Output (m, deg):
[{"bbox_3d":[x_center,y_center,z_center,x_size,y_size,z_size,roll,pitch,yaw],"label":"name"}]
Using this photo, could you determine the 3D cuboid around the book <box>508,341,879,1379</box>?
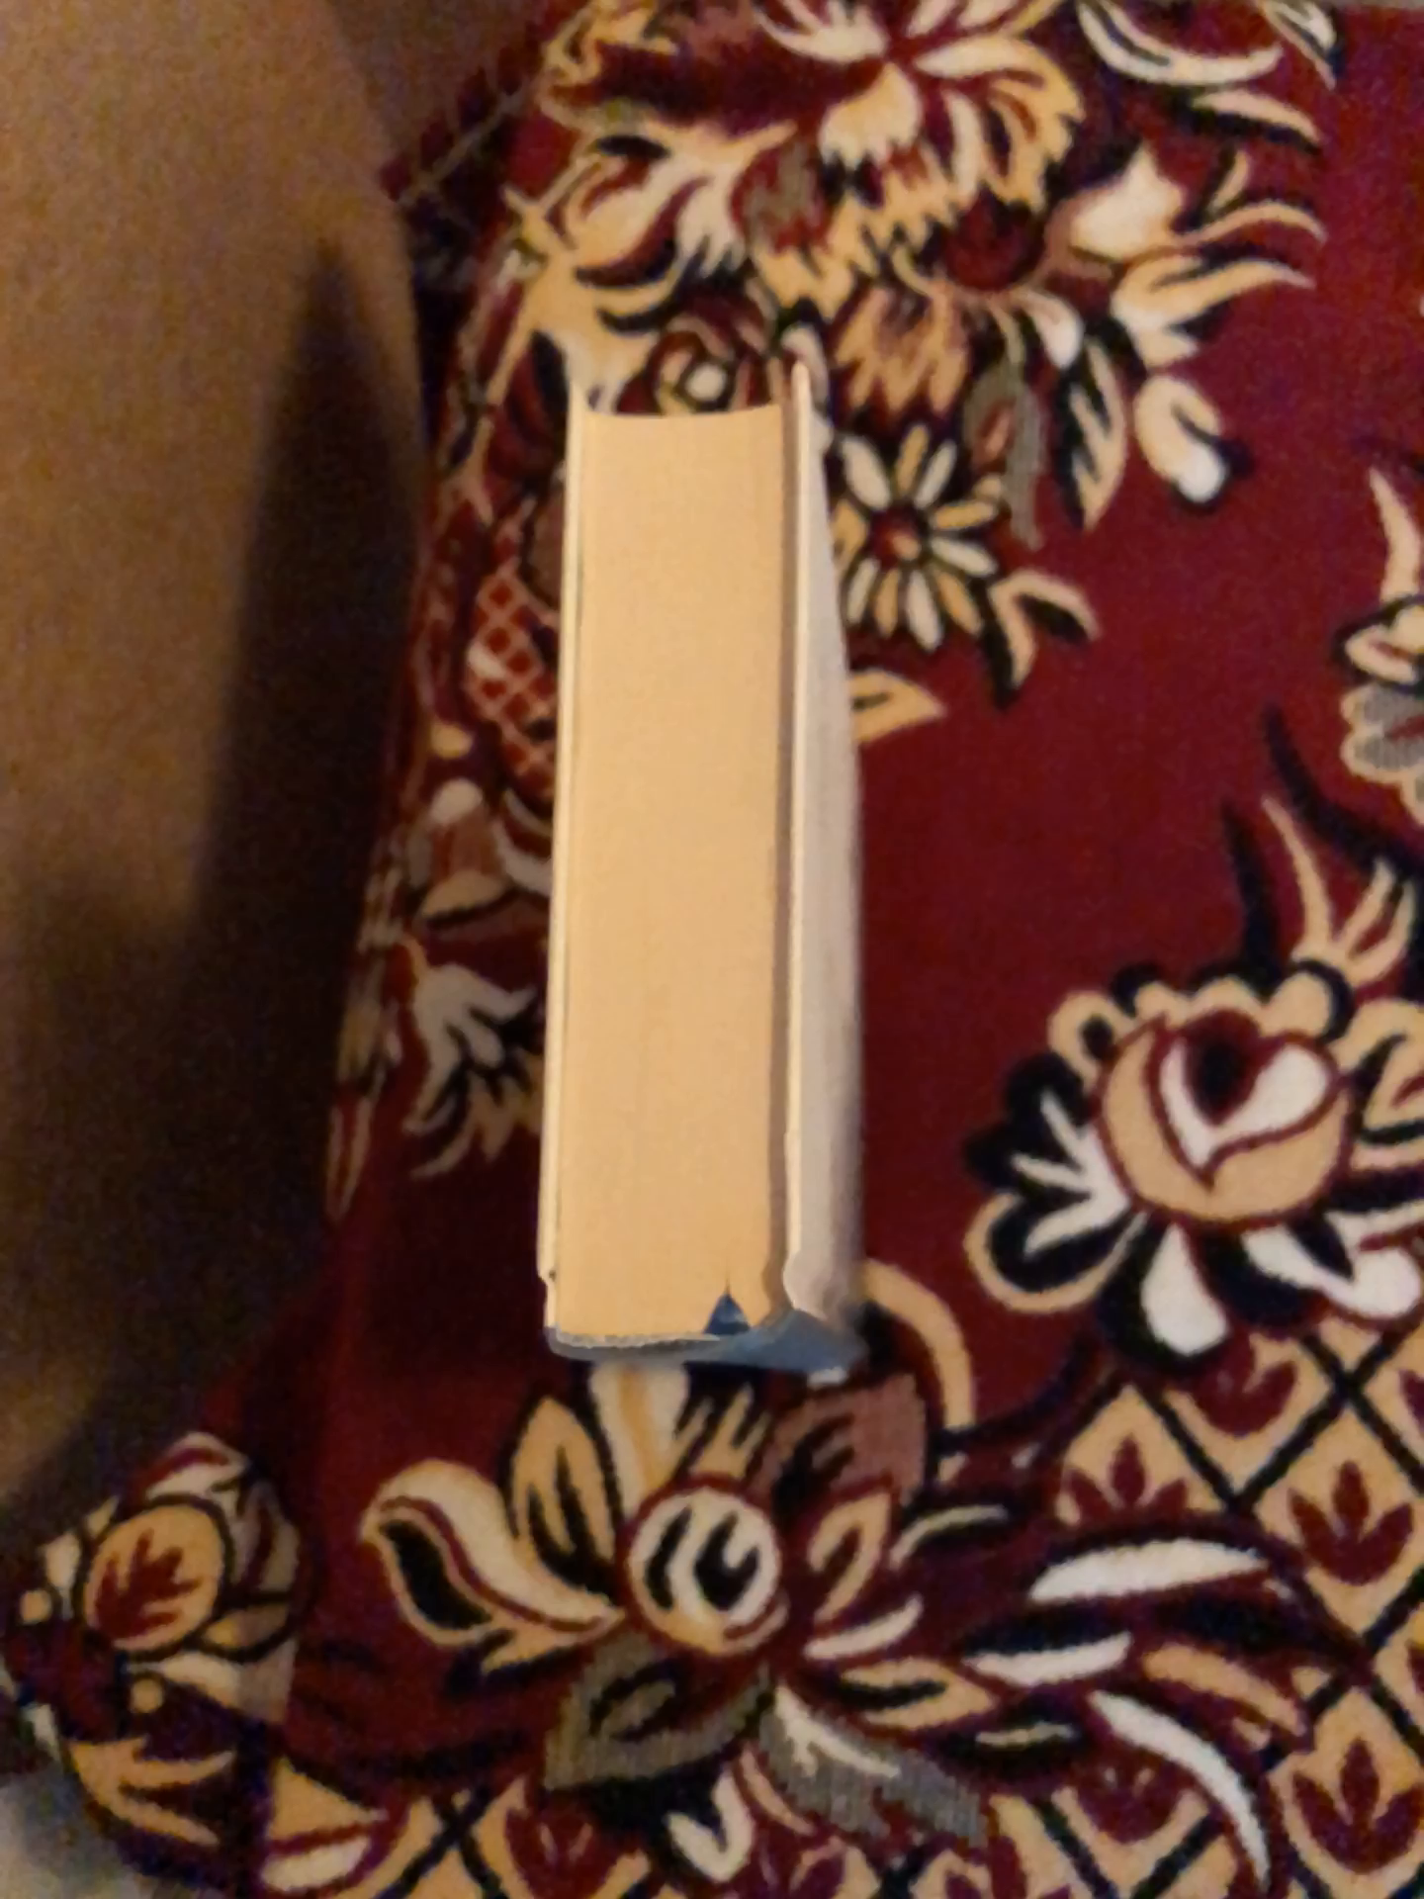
[{"bbox_3d":[0.009,0.008,0.326,0.040,0.211,0.150,-1,74,8],"label":"book"}]
